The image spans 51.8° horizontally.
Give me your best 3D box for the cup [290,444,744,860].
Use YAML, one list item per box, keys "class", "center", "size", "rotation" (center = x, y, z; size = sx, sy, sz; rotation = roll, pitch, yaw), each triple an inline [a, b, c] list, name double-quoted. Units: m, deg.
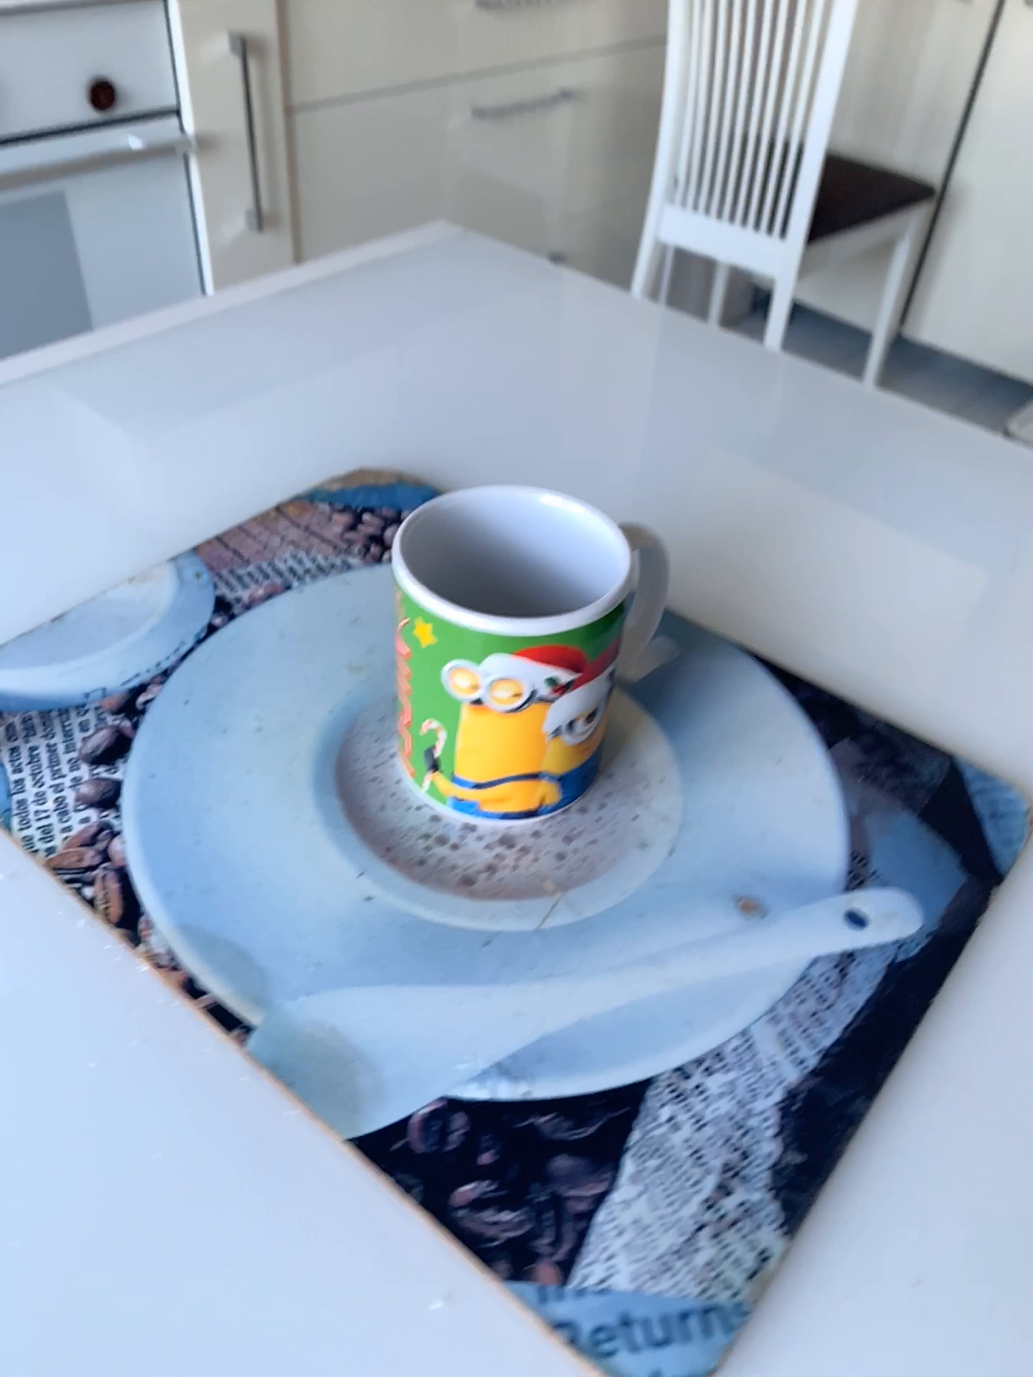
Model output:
- class: "cup"
  center: [0.000, -0.021, 0.405]
  size: [0.134, 0.077, 0.094]
  rotation: [-27, 51, -31]
